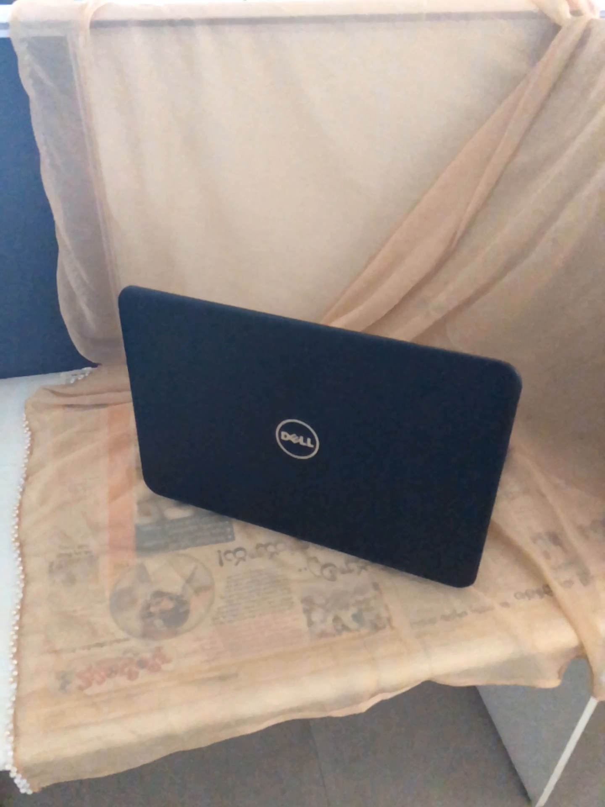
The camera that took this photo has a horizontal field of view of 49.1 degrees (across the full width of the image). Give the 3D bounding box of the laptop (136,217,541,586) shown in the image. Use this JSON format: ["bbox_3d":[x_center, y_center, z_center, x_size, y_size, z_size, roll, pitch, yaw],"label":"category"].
[{"bbox_3d":[0.048,-0.026,0.705,0.333,0.237,0.257,13,36,18],"label":"laptop"}]
